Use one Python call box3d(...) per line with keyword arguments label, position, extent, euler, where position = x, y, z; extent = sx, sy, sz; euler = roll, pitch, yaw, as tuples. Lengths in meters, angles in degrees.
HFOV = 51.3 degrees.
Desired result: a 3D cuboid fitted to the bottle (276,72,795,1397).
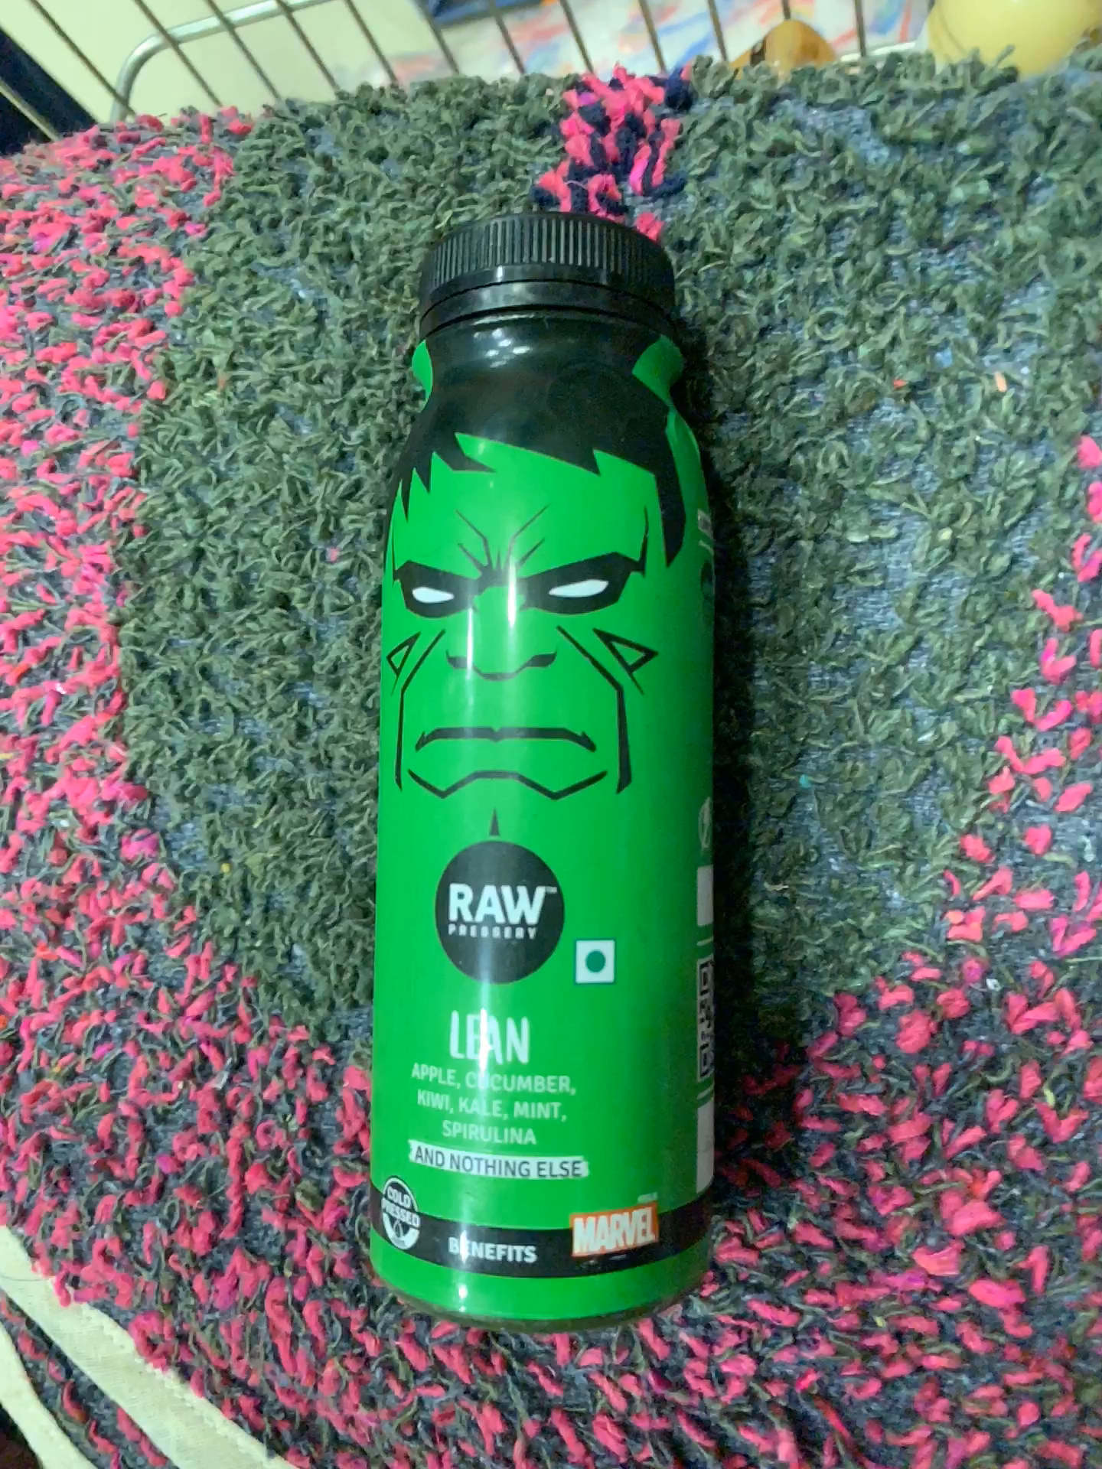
box3d(label="bottle", position=(0.002, -0.001, 0.172), extent=(0.060, 0.050, 0.160), euler=(-1, 84, 21))
